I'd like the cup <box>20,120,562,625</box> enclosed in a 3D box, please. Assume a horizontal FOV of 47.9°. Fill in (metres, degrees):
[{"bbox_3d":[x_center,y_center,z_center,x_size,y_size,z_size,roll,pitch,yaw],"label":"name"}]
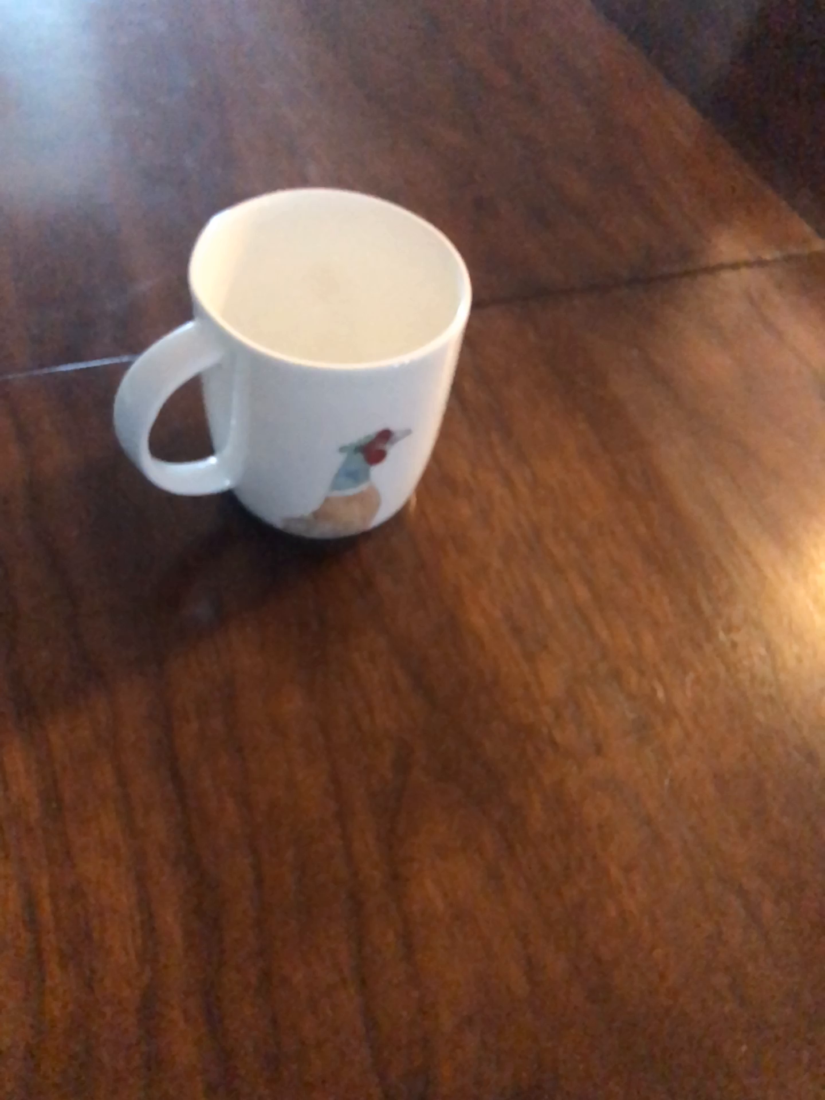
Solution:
[{"bbox_3d":[-0.038,-0.062,0.309,0.130,0.090,0.090,-31,63,-27],"label":"cup"}]
